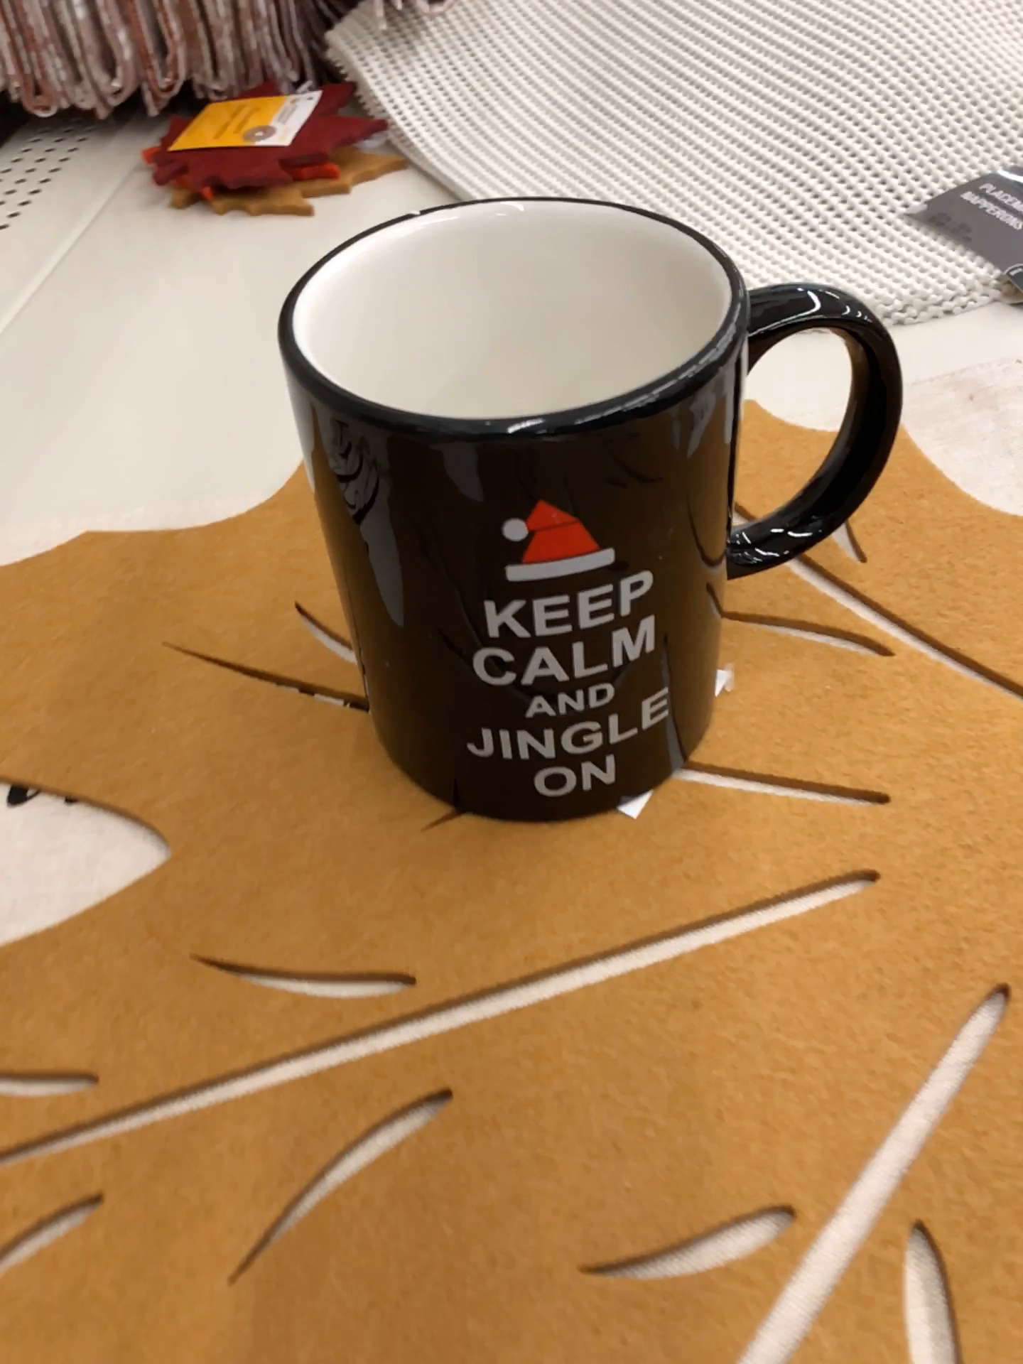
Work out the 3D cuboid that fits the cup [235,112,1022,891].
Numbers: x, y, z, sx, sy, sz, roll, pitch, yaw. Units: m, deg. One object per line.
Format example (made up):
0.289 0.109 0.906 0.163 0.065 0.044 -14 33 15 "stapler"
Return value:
0.025 -0.042 0.254 0.130 0.110 0.090 -20 47 -13 "cup"
